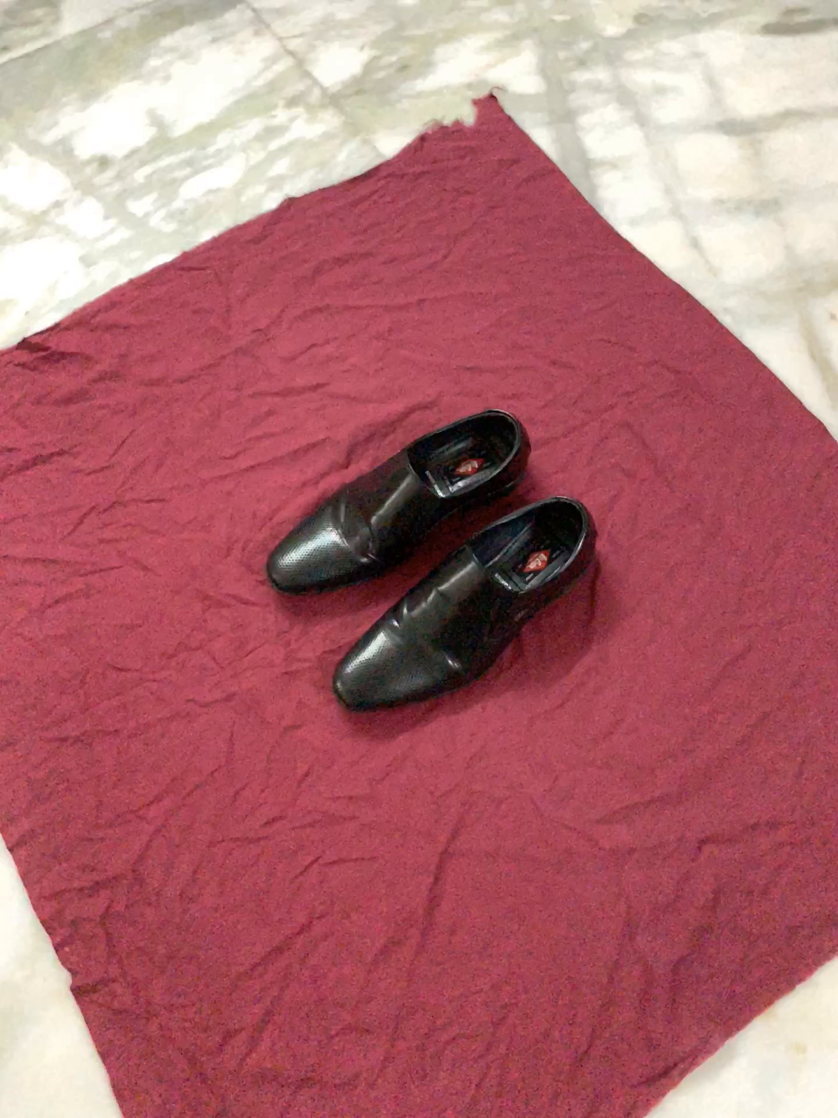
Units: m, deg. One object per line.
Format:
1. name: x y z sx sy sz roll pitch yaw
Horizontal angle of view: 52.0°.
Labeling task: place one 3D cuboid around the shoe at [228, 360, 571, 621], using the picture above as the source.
1. shoe: -0.015 -0.066 0.828 0.300 0.100 0.100 -26 68 -10

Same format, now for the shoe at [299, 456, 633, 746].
1. shoe: 0.045 0.039 0.800 0.290 0.100 0.100 -33 70 -13
